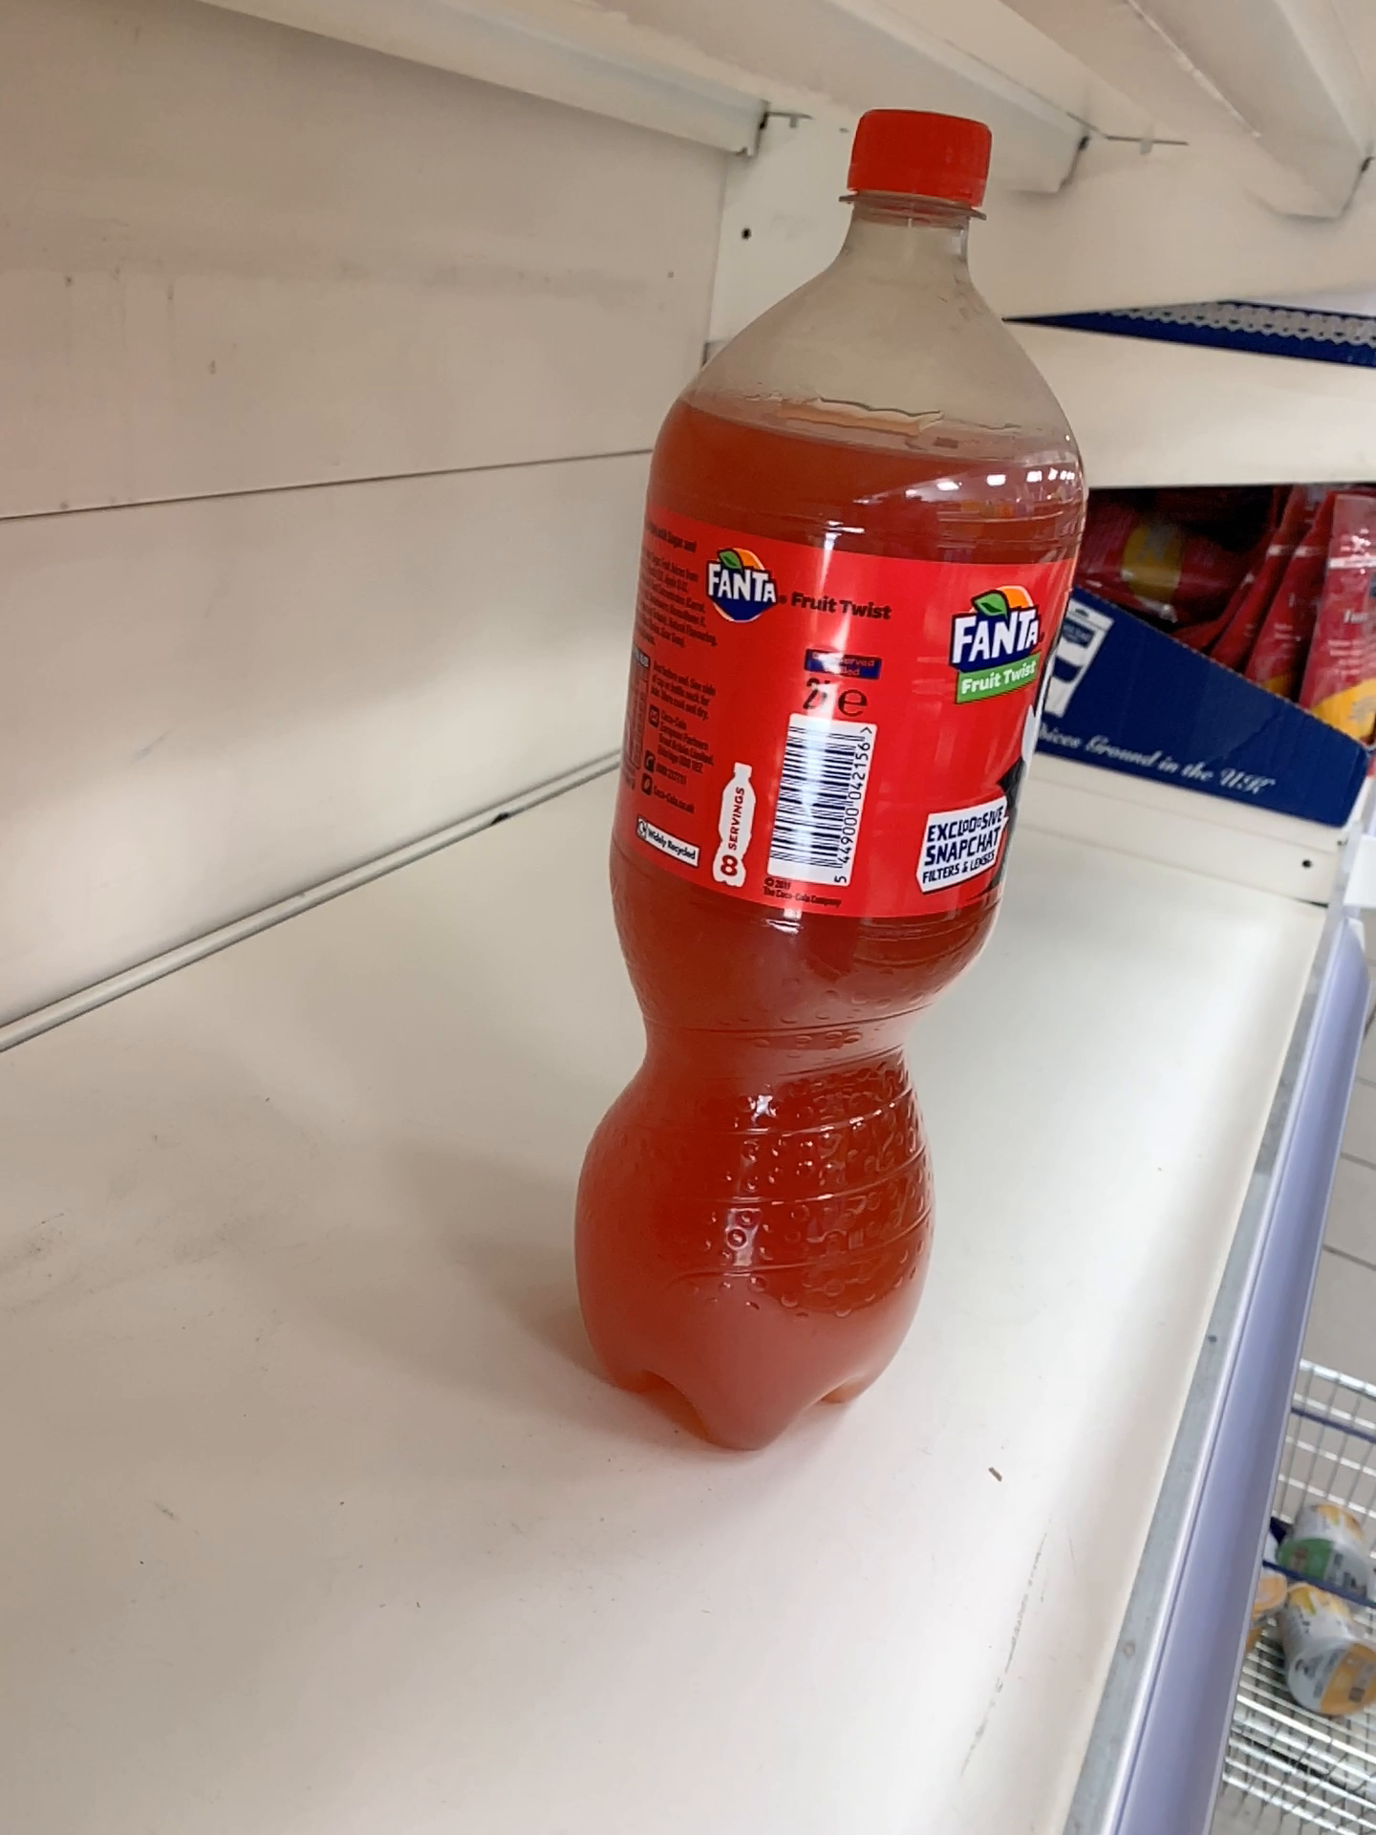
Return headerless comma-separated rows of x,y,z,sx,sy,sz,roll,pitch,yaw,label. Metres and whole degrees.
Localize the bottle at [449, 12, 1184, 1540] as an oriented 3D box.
0.026,-0.025,0.363,0.110,0.327,0.121,7,24,-3,bottle
